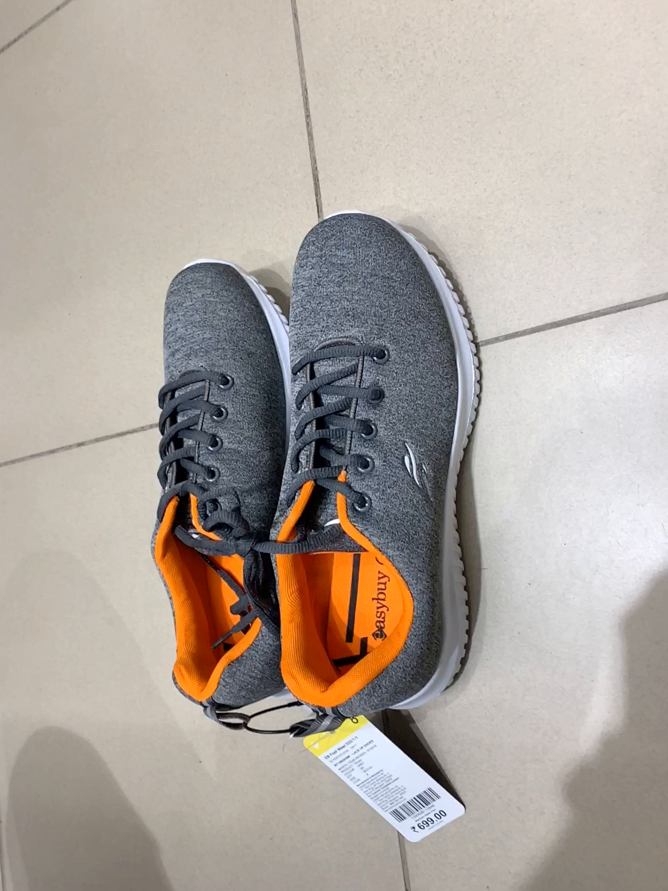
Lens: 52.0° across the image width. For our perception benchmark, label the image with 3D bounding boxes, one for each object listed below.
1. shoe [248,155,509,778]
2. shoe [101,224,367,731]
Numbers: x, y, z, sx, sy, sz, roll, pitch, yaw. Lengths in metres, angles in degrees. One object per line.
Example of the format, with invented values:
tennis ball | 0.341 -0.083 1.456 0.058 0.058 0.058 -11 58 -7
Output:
shoe | 0.025 0.011 0.392 0.100 0.090 0.300 -7 84 31
shoe | -0.065 0.022 0.436 0.100 0.090 0.280 -13 80 30
